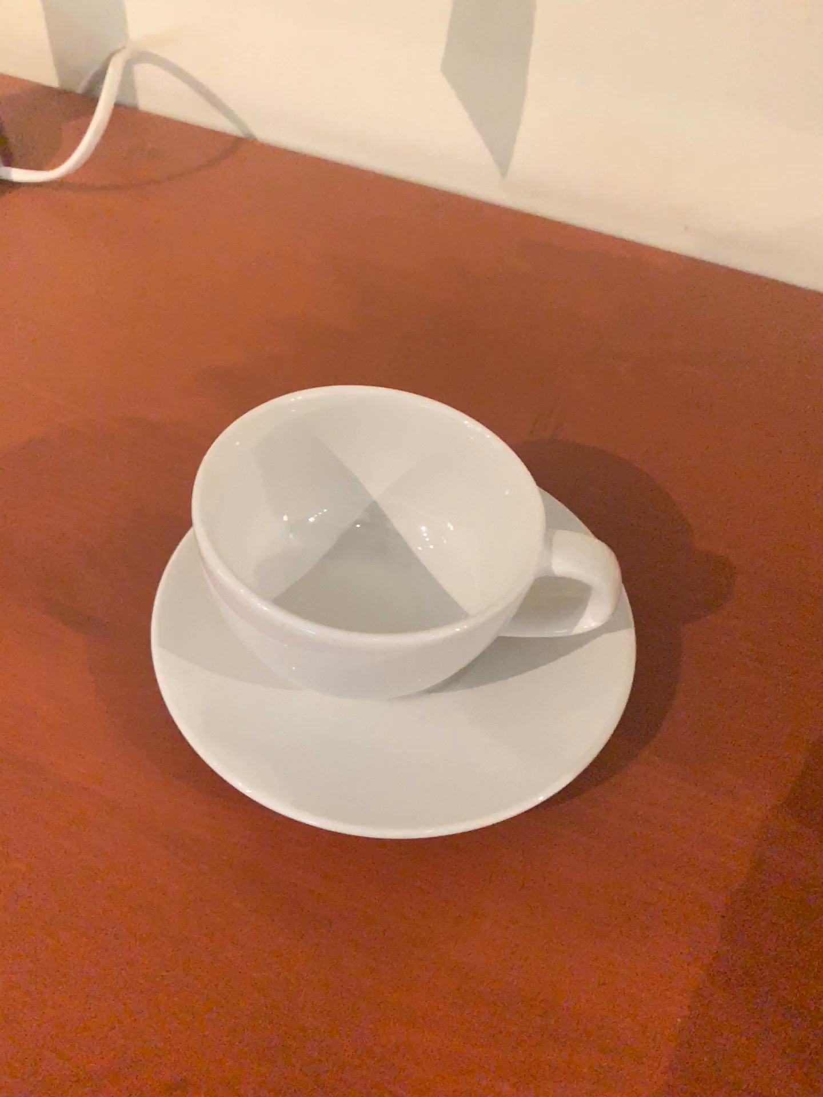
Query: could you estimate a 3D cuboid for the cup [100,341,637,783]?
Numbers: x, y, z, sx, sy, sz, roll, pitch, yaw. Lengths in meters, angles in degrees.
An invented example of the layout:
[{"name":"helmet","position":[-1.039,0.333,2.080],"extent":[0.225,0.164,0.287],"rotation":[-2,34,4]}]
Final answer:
[{"name":"cup","position":[-0.005,0.000,0.219],"extent":[0.110,0.050,0.080],"rotation":[11,49,5]}]
